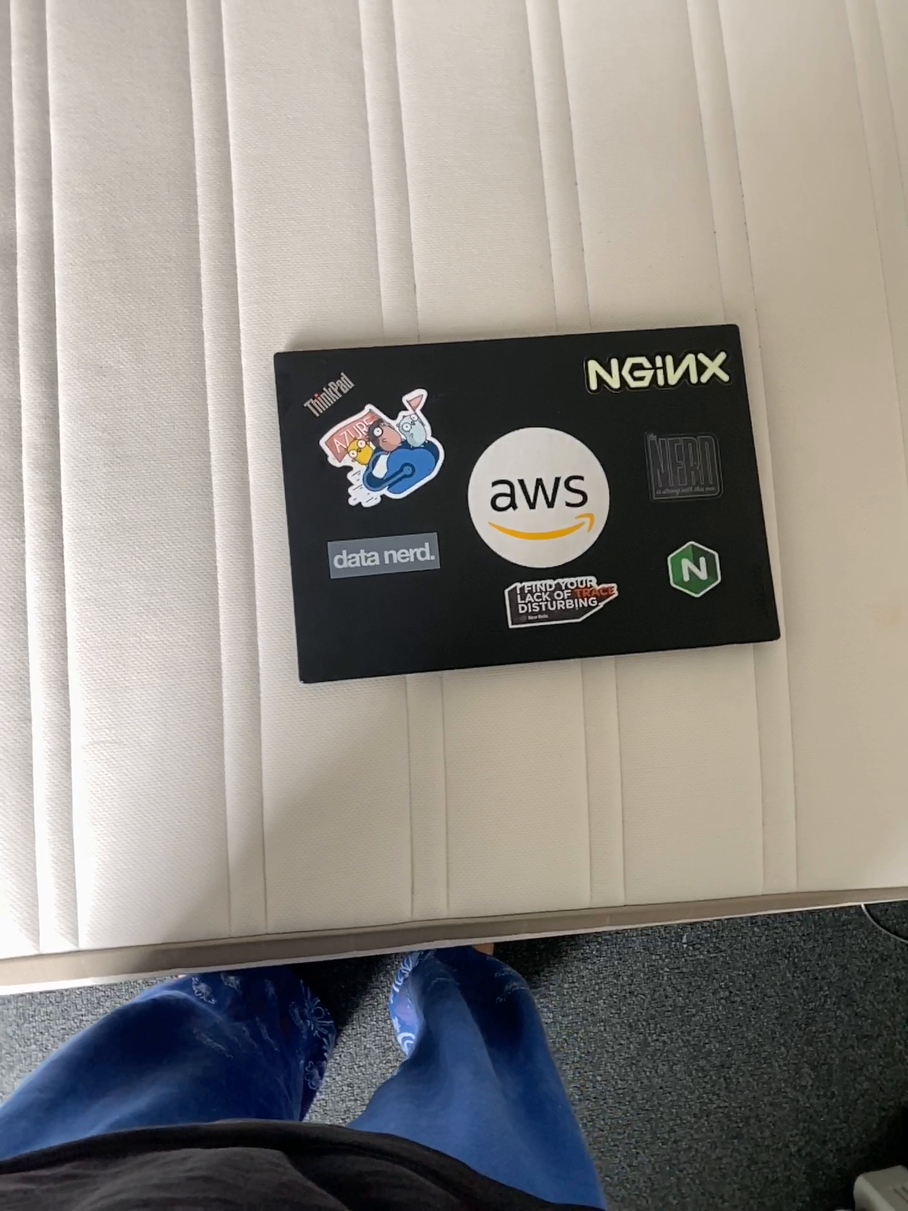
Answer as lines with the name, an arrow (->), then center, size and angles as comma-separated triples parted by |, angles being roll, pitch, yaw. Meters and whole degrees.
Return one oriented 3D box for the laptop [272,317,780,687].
laptop -> 0.045, -0.074, 0.620 | 0.322, 0.014, 0.224 | -5, 80, -4
